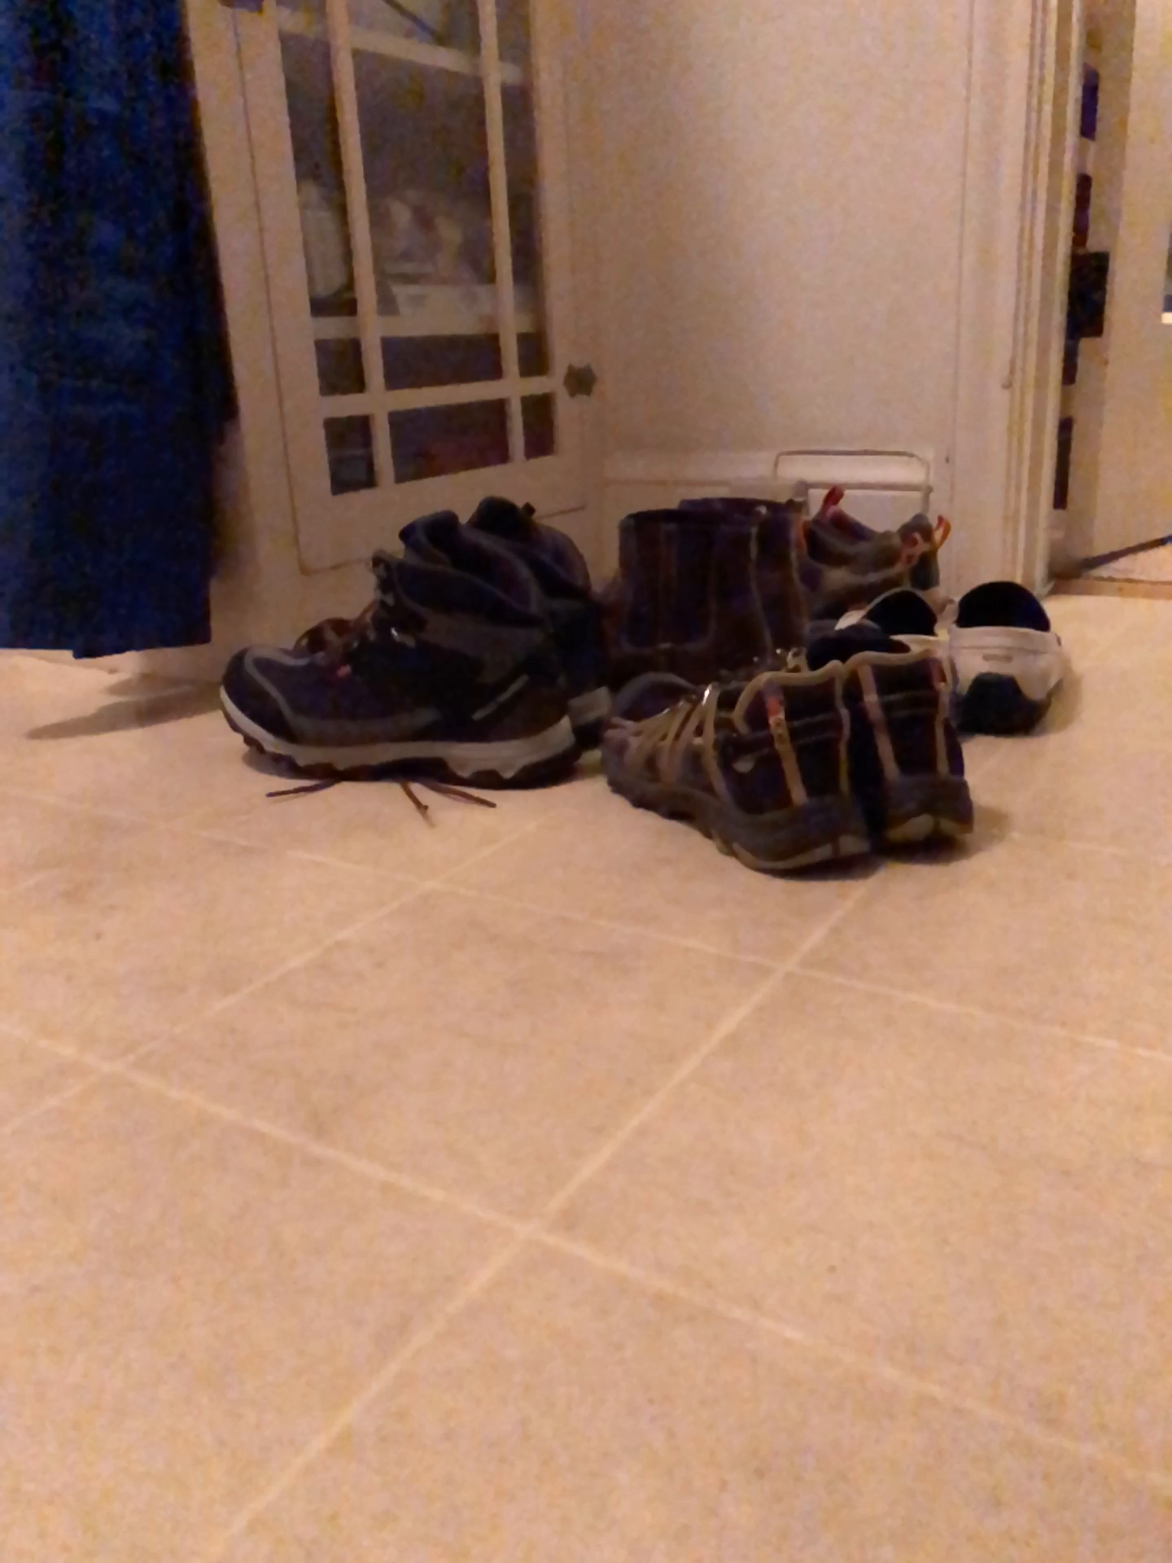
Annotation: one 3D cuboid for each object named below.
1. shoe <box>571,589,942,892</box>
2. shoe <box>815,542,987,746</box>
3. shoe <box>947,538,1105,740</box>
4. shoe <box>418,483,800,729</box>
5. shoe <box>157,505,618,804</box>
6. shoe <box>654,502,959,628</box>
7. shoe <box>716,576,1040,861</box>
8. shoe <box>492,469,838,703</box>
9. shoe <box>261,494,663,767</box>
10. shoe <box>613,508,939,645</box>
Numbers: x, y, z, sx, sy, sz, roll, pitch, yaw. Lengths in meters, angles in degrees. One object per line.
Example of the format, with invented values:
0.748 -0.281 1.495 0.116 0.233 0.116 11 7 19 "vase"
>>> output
0.101 -0.043 0.873 0.110 0.123 0.294 -10 20 -22 "shoe"
0.265 -0.130 1.127 0.110 0.113 0.304 0 18 7 "shoe"
0.381 -0.136 1.133 0.110 0.113 0.304 3 19 16 "shoe"
0.022 -0.168 1.173 0.323 0.192 0.111 6 20 25 "shoe"
-0.149 -0.107 0.982 0.323 0.192 0.111 5 19 24 "shoe"
0.242 -0.247 1.434 0.313 0.113 0.111 7 20 28 "shoe"
0.192 -0.059 0.919 0.110 0.123 0.294 -6 18 -11 "shoe"
0.073 -0.201 1.260 0.323 0.192 0.110 10 22 35 "shoe"
-0.106 -0.139 1.094 0.323 0.192 0.111 8 21 29 "shoe"
0.195 -0.219 1.339 0.313 0.113 0.111 7 20 28 "shoe"
